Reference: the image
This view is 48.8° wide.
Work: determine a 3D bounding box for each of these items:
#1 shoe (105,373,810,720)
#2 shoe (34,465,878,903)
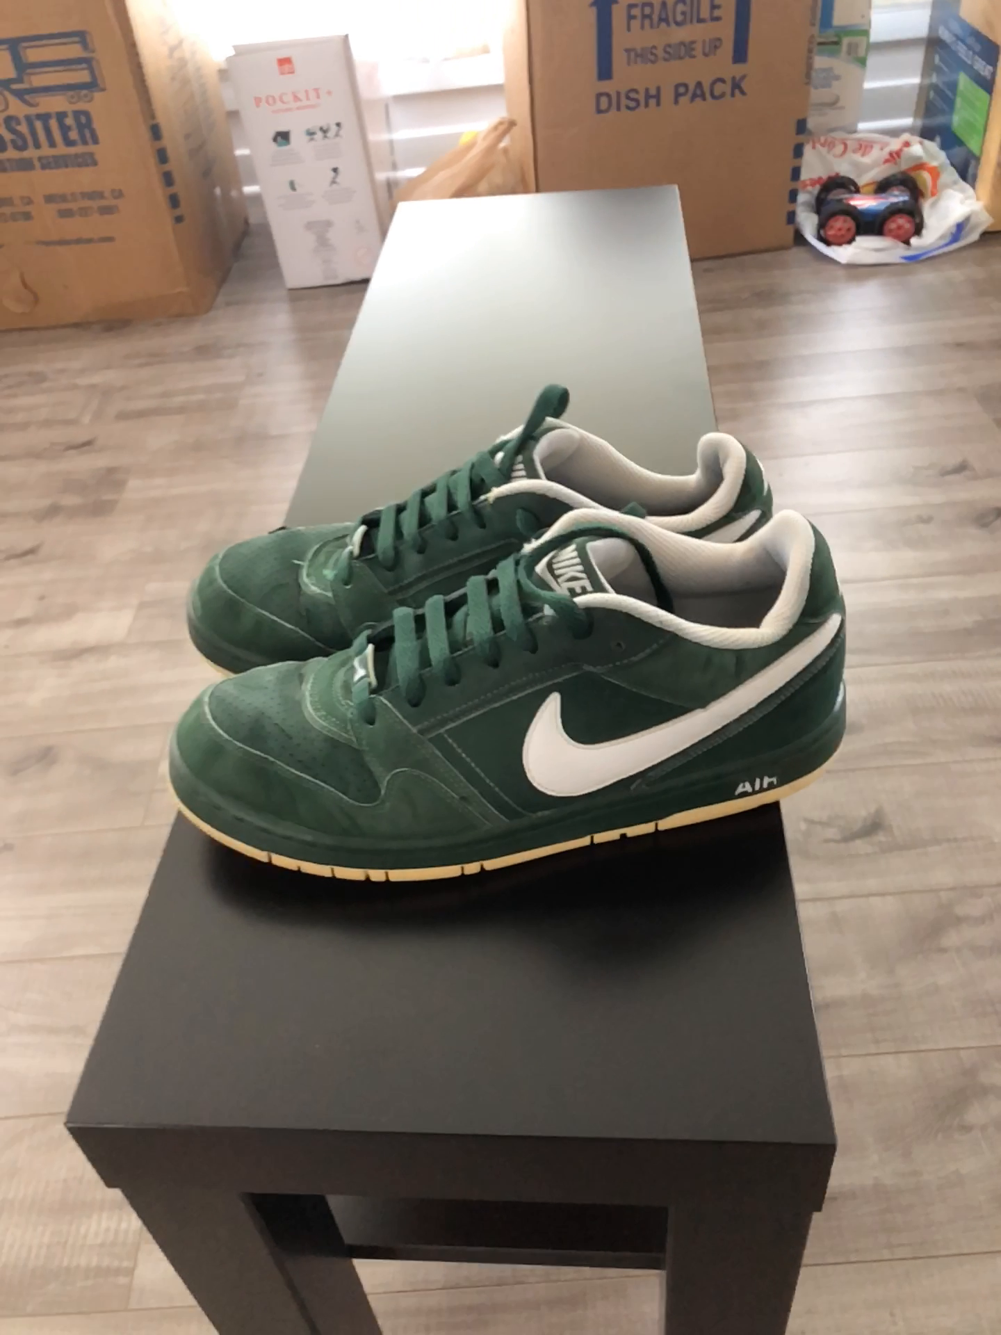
[{"bbox_3d":[-0.014,-0.055,0.519,0.292,0.100,0.100,-4,41,8],"label":"shoe"},{"bbox_3d":[-0.013,0.008,0.435,0.280,0.100,0.110,-5,41,6],"label":"shoe"}]
